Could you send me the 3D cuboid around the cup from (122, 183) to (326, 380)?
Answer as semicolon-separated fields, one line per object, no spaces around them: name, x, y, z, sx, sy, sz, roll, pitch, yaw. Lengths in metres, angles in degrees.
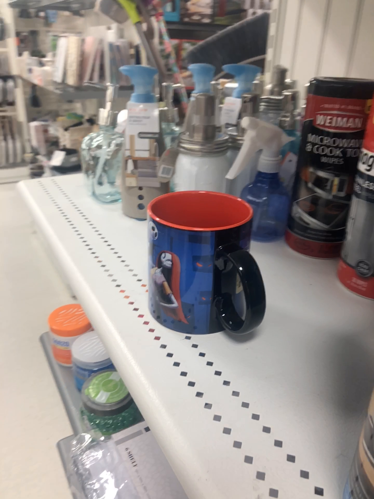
cup;0.025;0.015;0.388;0.113;0.103;0.148;-15;31;-31
